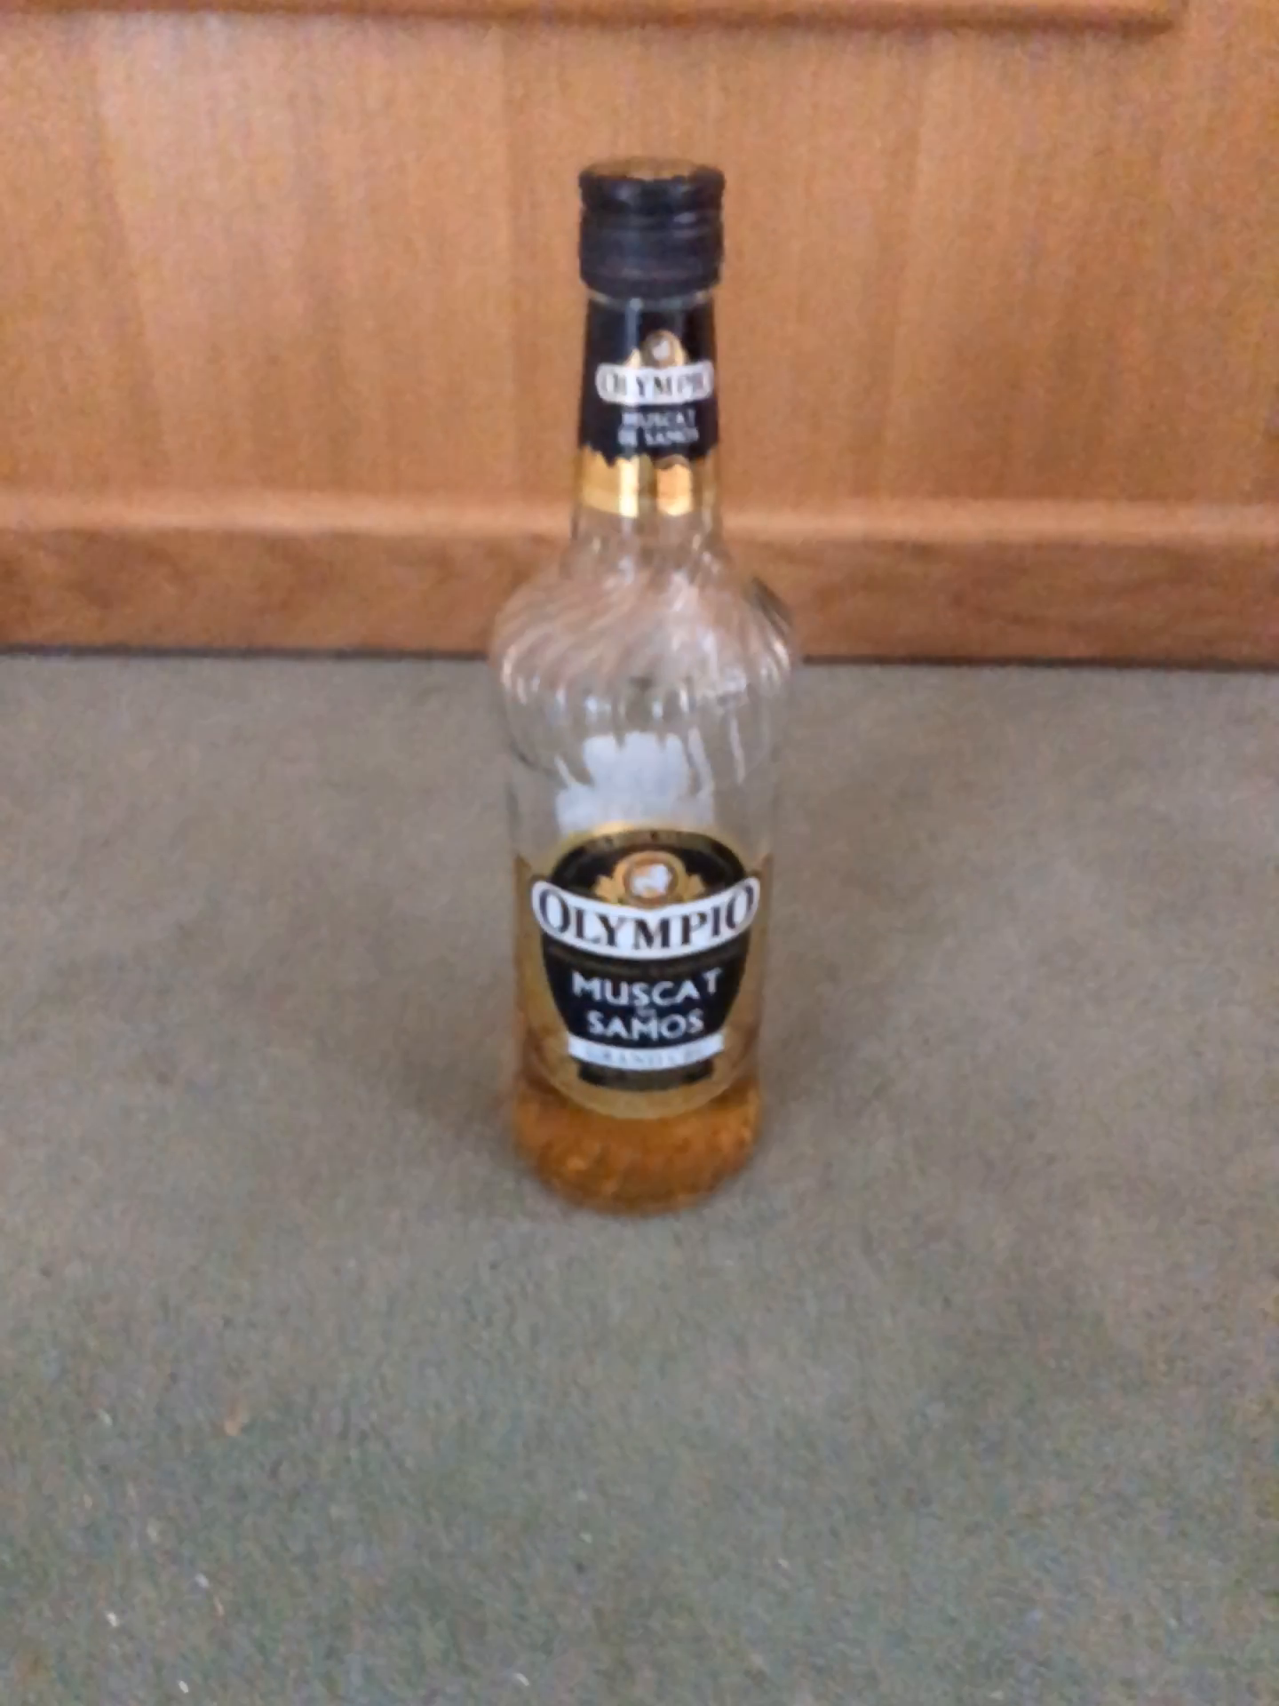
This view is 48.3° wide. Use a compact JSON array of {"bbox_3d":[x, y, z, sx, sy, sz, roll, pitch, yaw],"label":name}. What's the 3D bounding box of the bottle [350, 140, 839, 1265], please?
[{"bbox_3d":[-0.008,-0.022,0.381,0.090,0.288,0.091,1,35,0],"label":"bottle"}]
